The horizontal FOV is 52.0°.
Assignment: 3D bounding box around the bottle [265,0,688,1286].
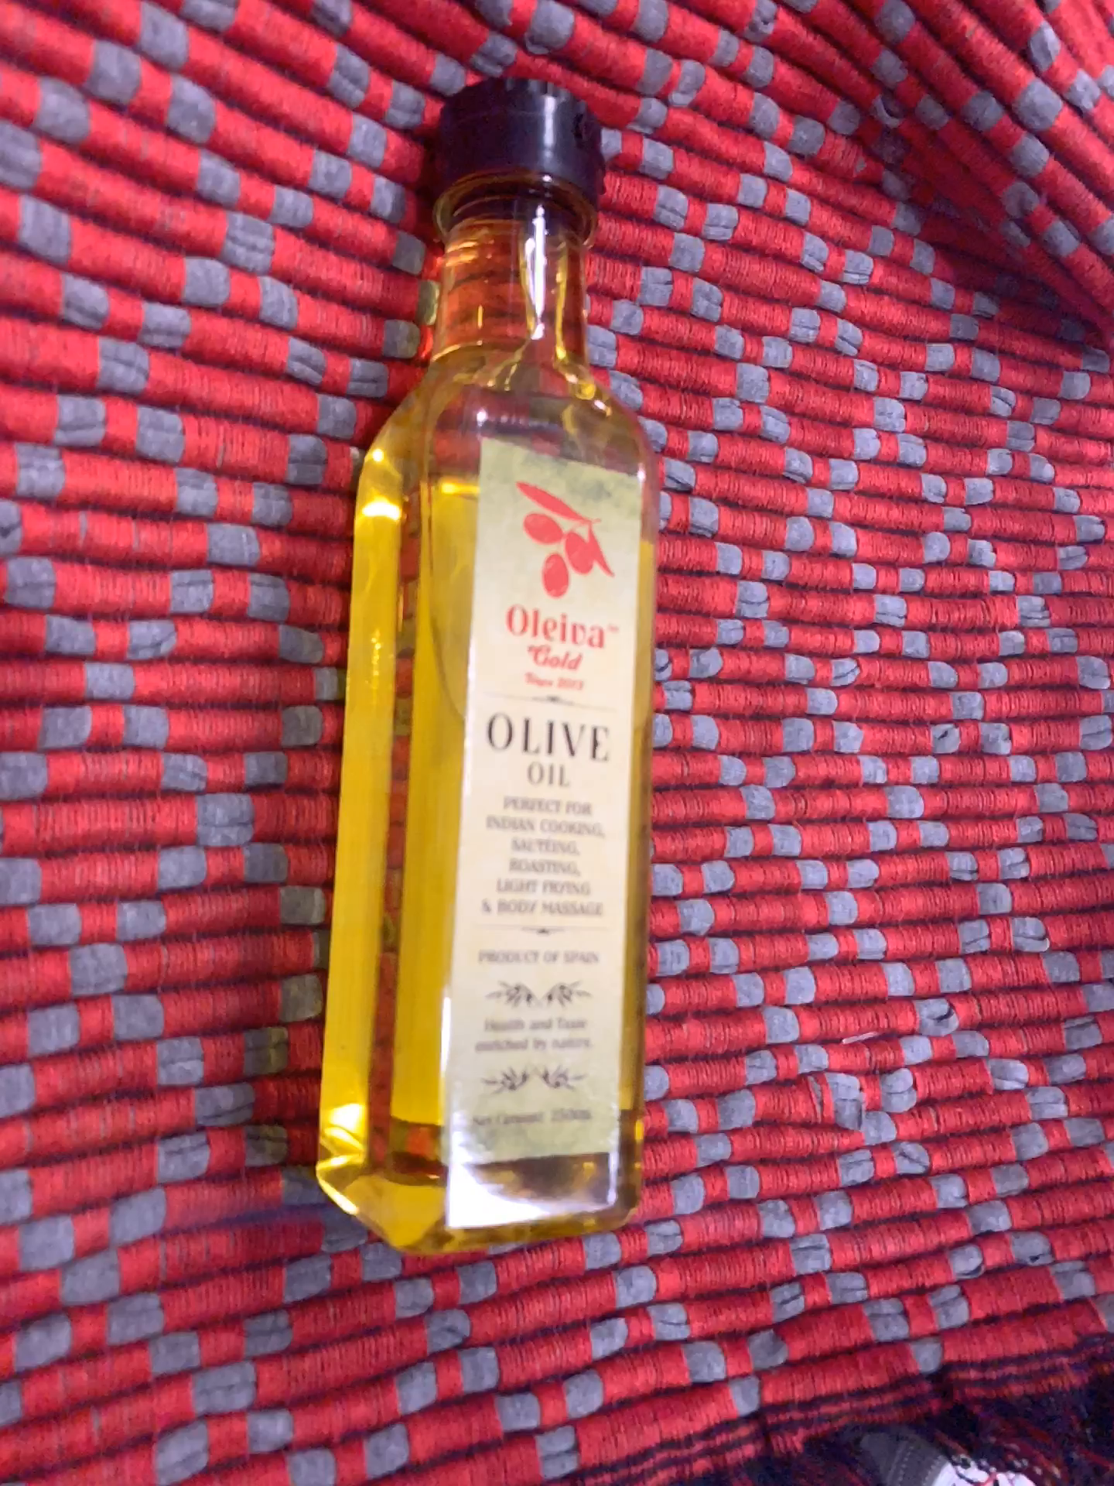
[{"bbox_3d":[-0.013,-0.028,0.198,0.050,0.050,0.210,6,81,-28],"label":"bottle"}]
